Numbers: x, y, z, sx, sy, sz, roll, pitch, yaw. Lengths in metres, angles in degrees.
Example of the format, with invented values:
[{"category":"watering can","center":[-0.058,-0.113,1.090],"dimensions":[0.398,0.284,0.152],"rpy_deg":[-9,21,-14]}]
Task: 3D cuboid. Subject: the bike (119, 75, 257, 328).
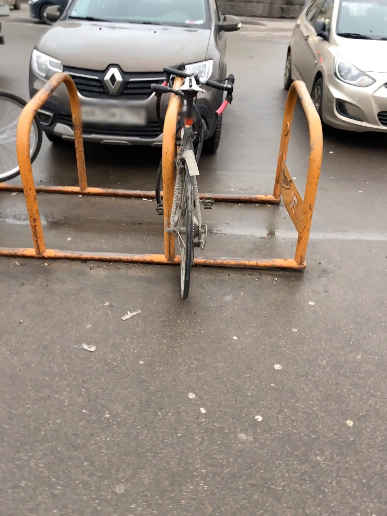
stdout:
[{"category":"bike","center":[0.004,-0.446,2.318],"dimensions":[0.489,0.761,1.525],"rpy_deg":[3,33,1]}]
